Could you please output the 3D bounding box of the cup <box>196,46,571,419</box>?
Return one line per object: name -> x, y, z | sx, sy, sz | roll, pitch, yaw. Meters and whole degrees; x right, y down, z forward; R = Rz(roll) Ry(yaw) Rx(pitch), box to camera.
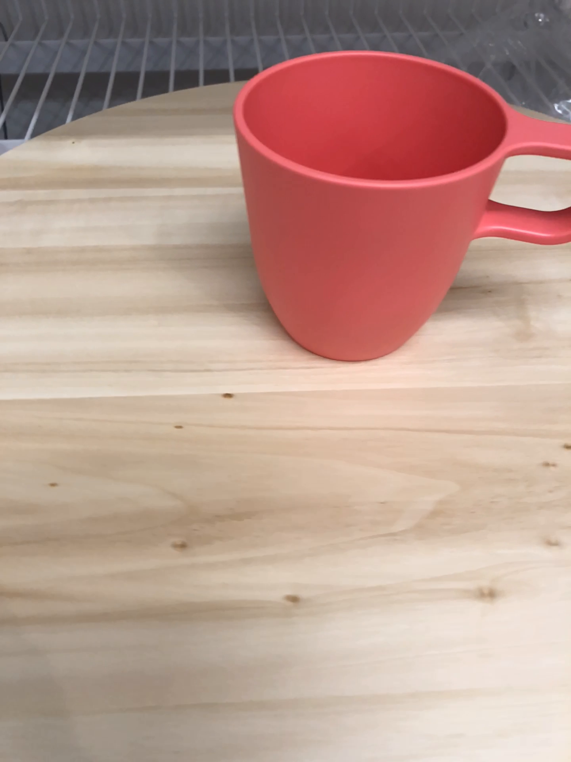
cup -> 0.038, -0.052, 0.217 | 0.110, 0.080, 0.080 | 9, 47, 8
